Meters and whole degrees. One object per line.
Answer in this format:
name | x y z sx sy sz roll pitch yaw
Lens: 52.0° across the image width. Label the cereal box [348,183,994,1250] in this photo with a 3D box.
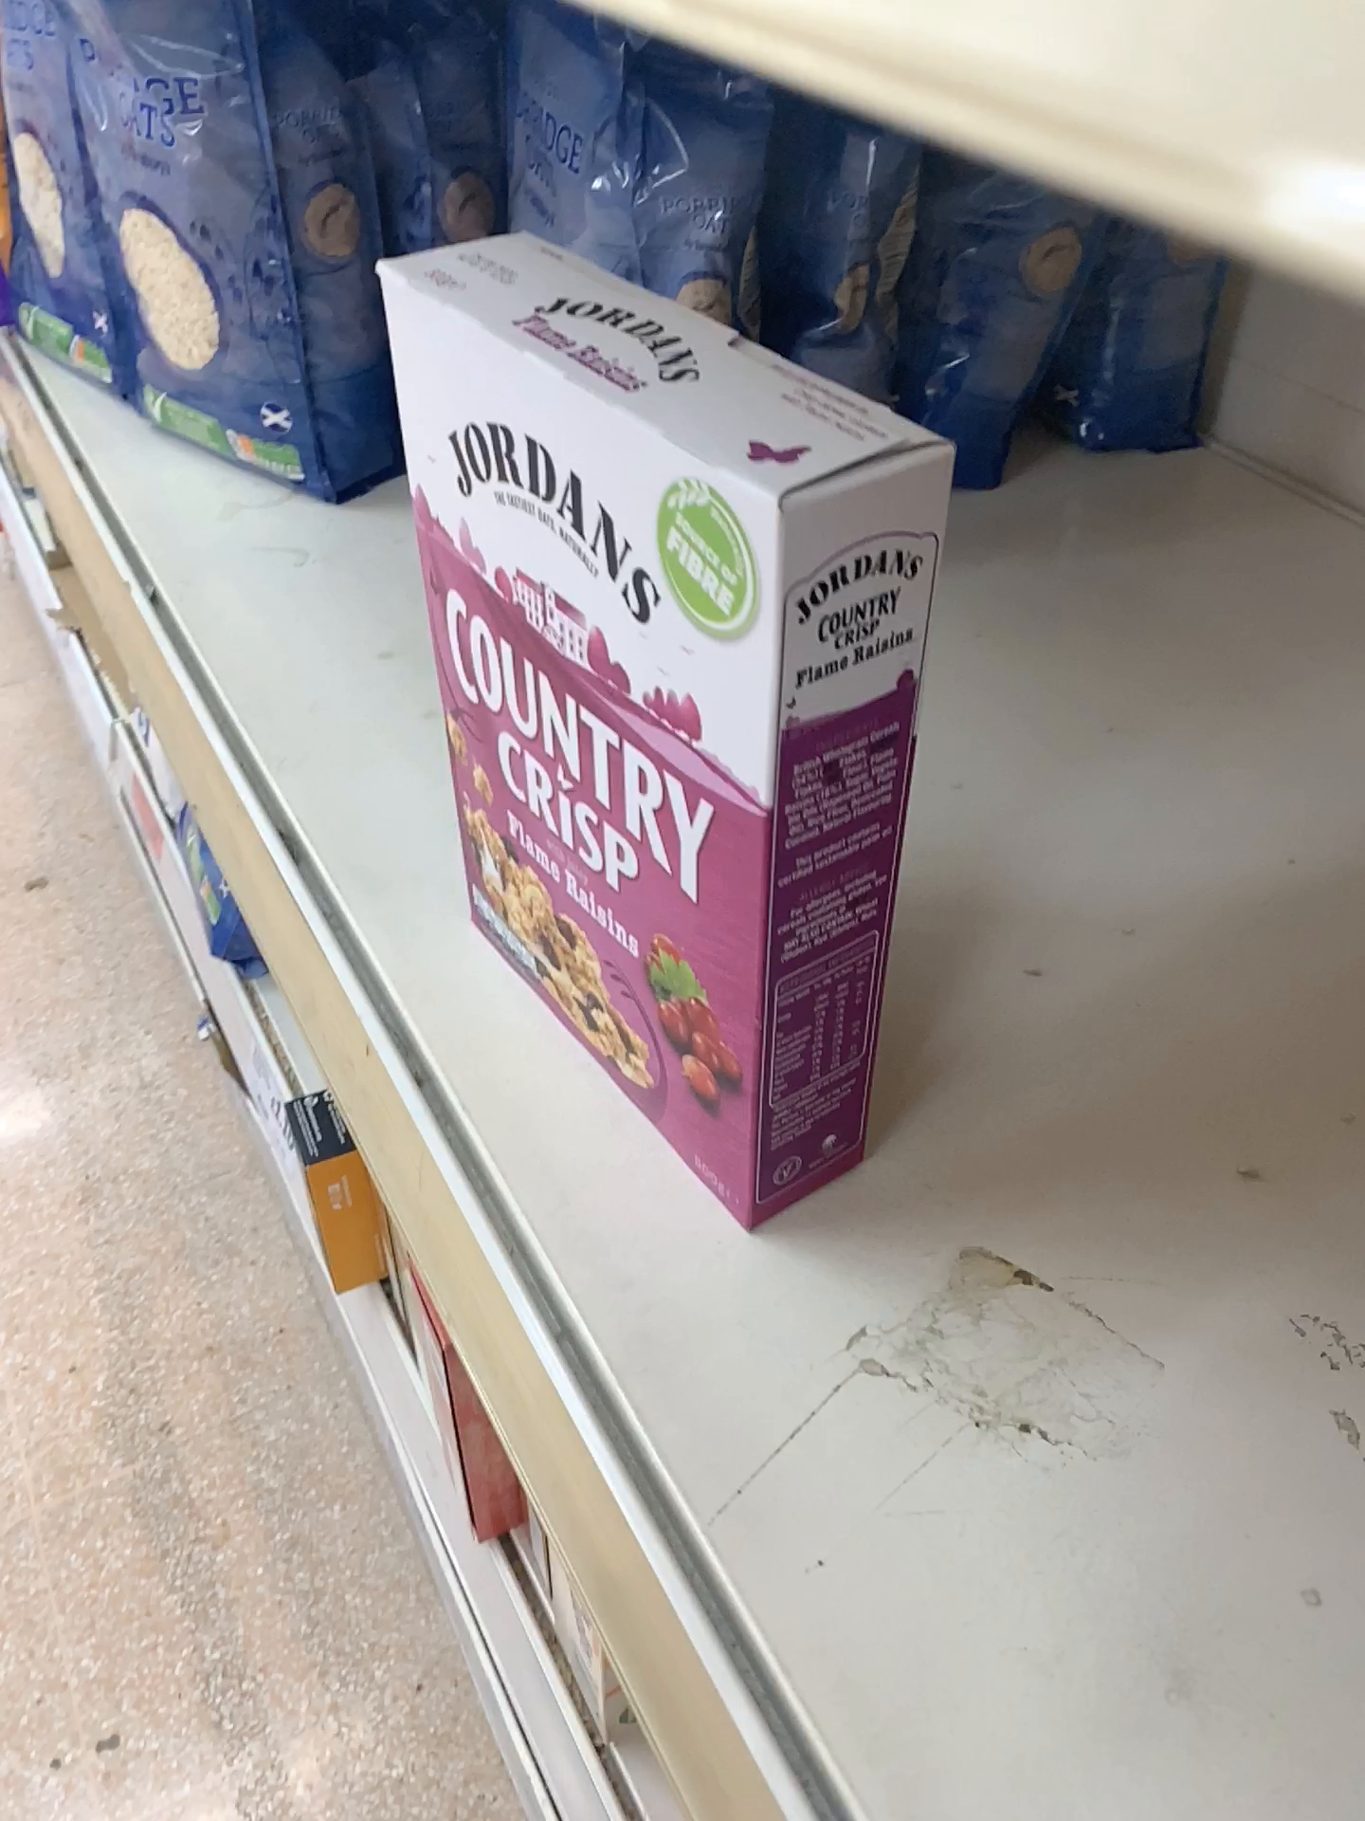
cereal box | -0.015 -0.052 0.410 0.050 0.248 0.191 -25 48 -26
